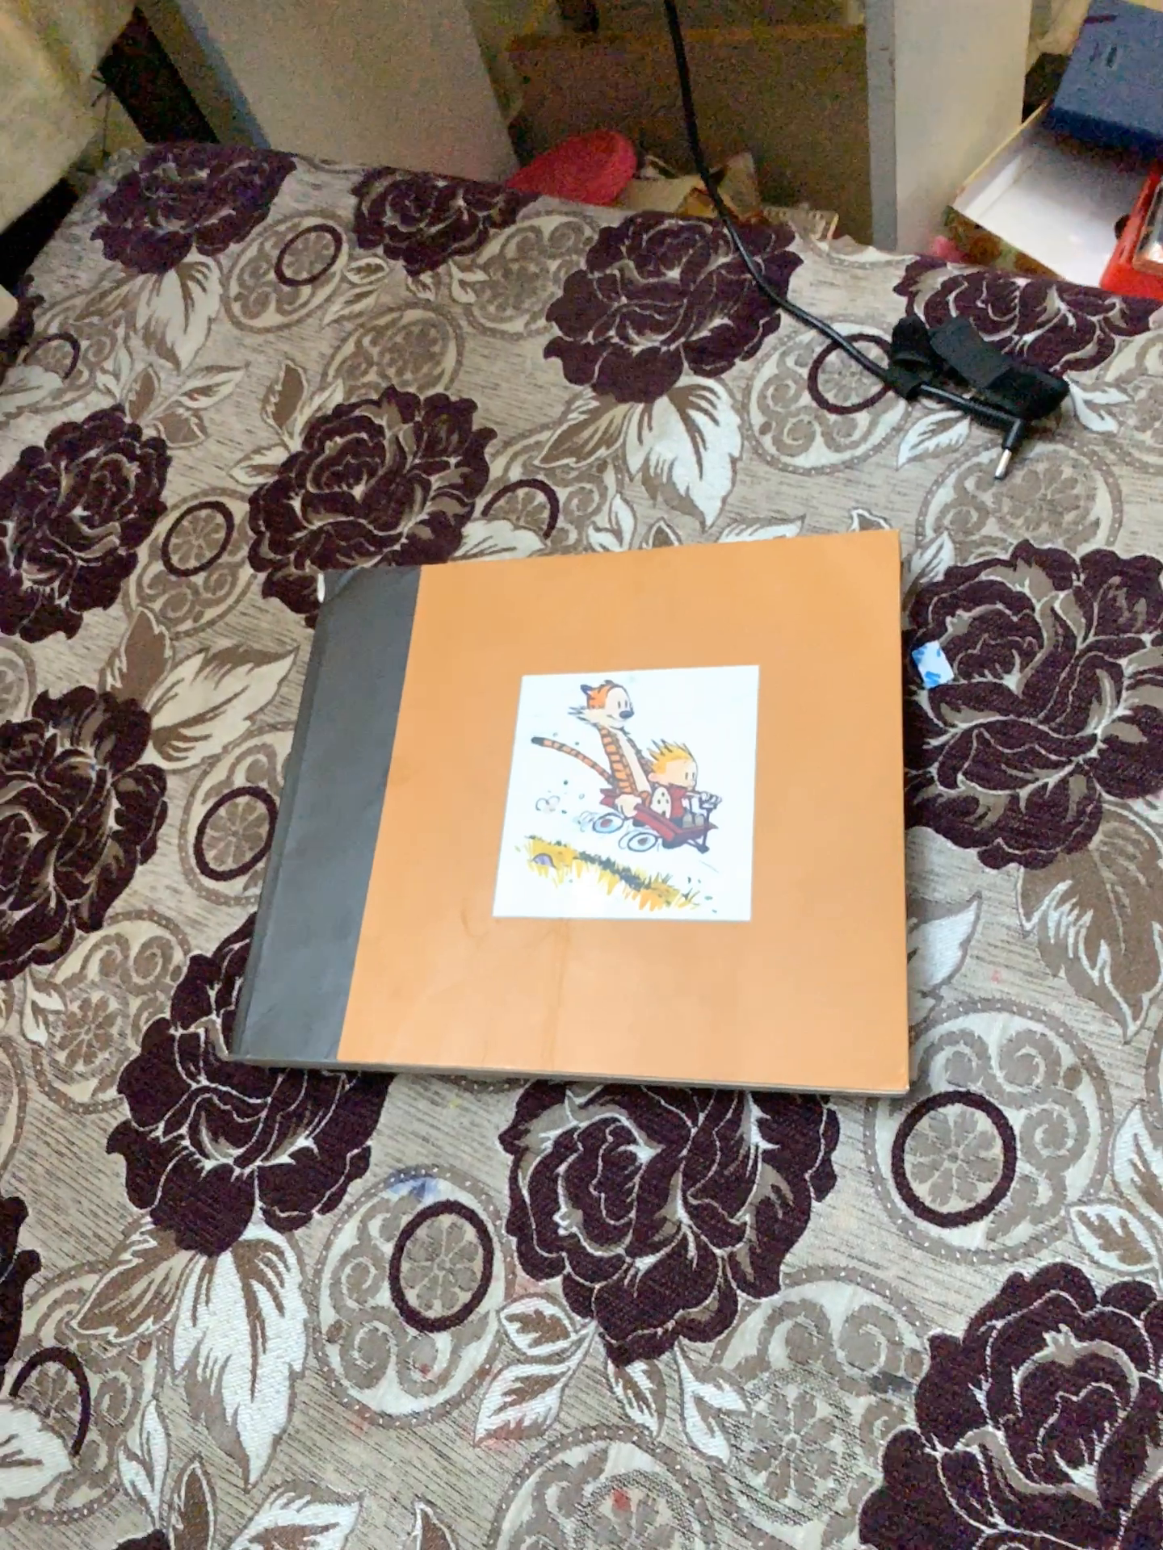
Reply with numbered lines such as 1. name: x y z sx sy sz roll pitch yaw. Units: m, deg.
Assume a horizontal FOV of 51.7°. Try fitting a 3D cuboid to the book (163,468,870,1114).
1. book: -0.019 0.000 0.508 0.270 0.040 0.261 -2 65 16
